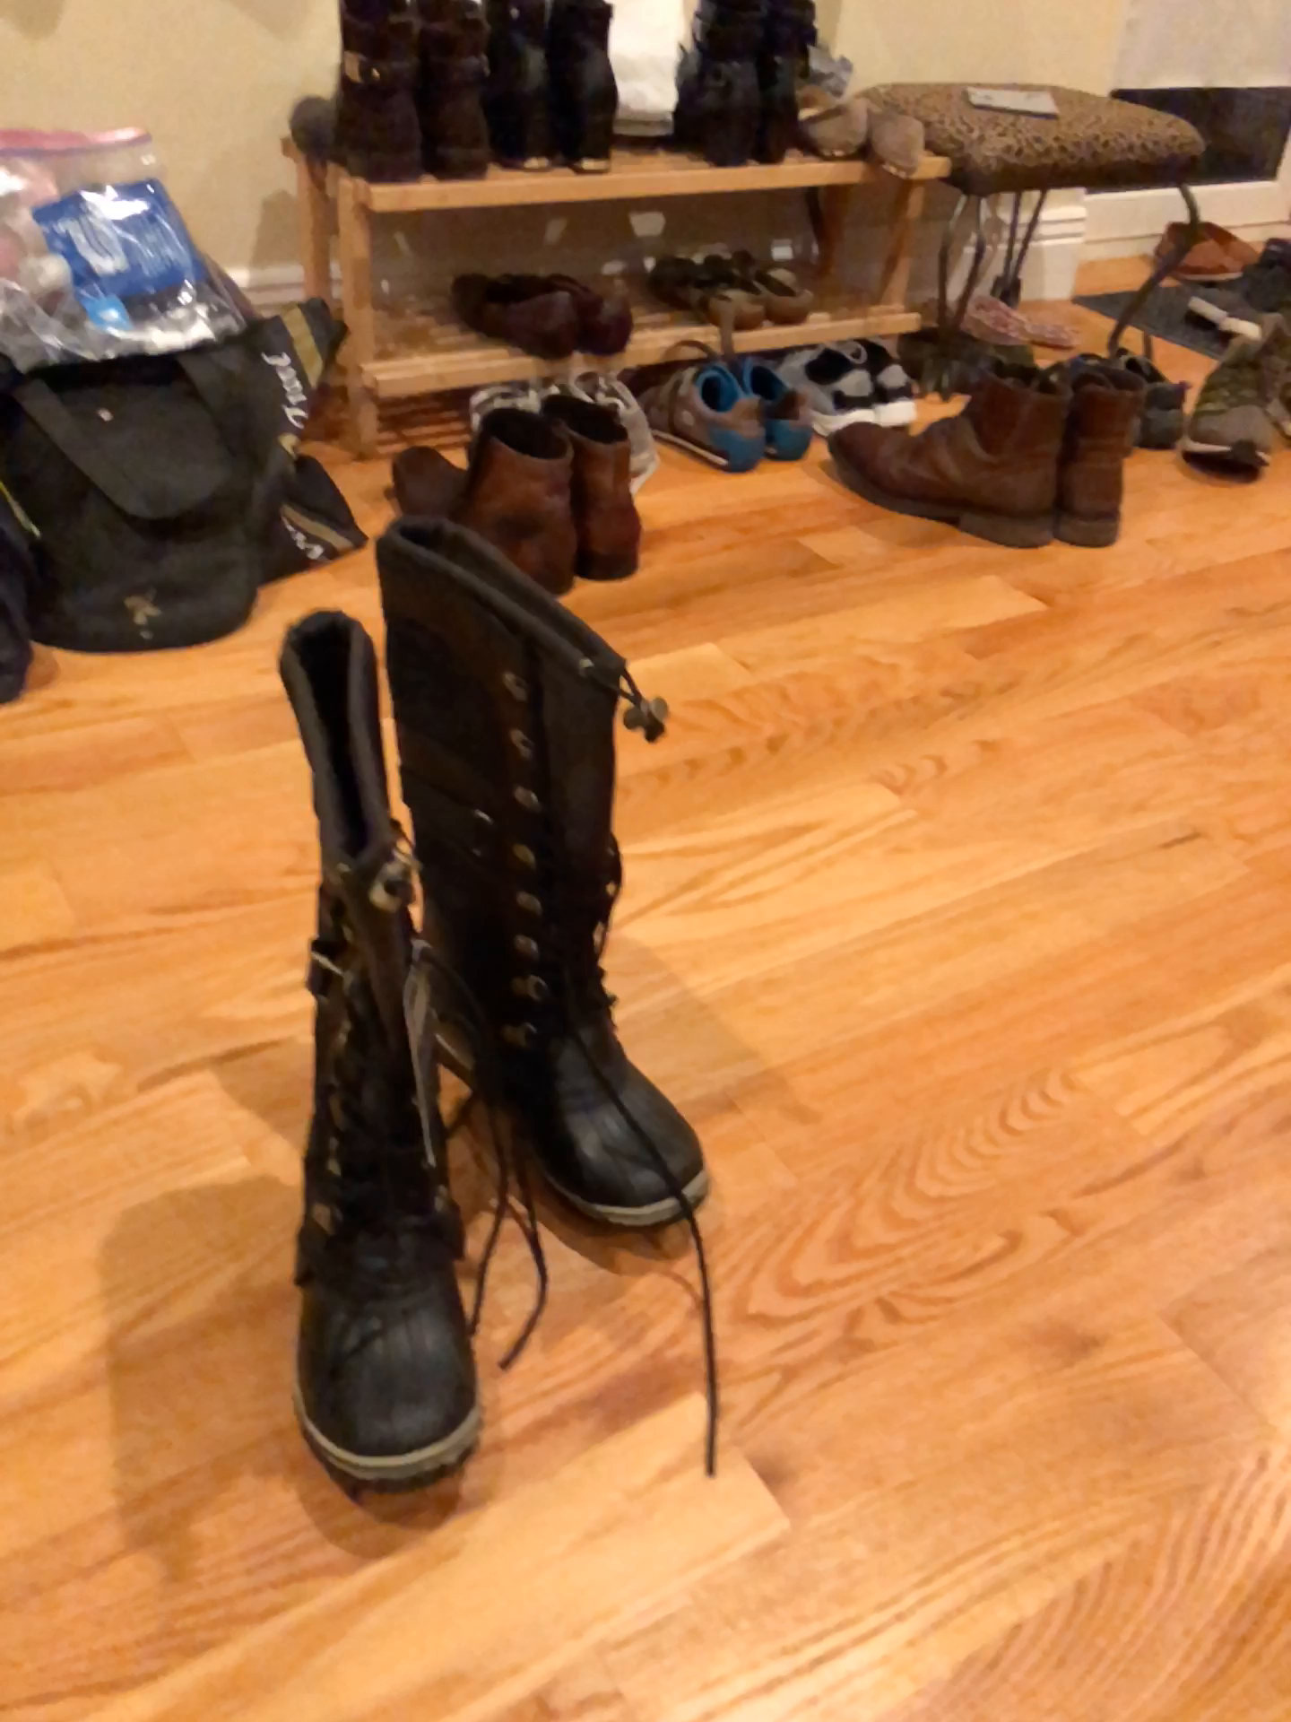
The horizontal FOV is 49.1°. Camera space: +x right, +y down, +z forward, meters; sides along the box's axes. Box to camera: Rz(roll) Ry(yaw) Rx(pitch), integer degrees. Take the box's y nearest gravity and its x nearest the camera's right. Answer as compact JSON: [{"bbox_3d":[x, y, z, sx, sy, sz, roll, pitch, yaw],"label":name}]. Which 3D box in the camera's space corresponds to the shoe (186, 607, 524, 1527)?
[{"bbox_3d":[-0.135,0.087,0.644,0.100,0.308,0.261,-6,38,-15],"label":"shoe"}]

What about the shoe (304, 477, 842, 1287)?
[{"bbox_3d":[-0.053,0.009,0.741,0.100,0.328,0.261,-26,47,-35],"label":"shoe"}]
